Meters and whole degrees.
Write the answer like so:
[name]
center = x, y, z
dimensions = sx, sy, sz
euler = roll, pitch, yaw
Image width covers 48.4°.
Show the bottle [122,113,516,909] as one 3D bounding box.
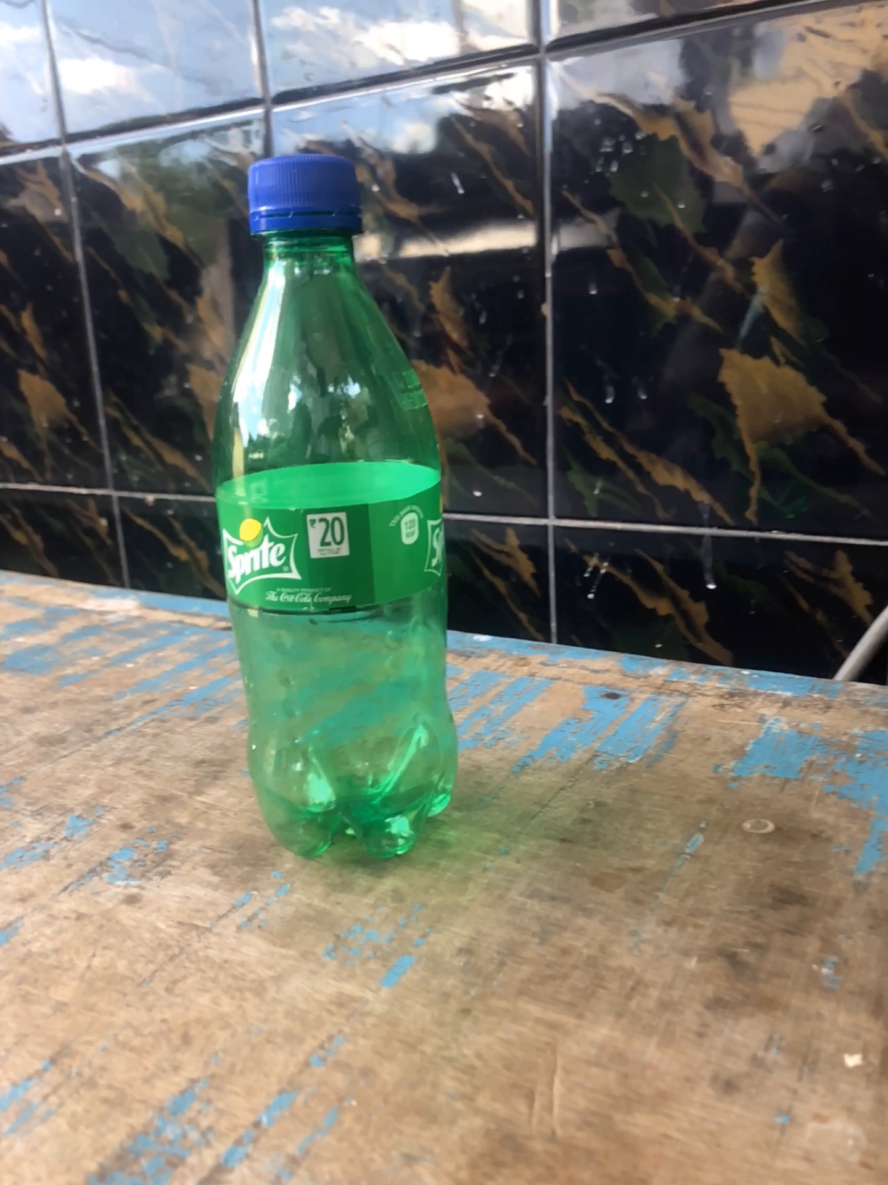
[bottle]
center = -0.025, -0.018, 0.232
dimensions = 0.060, 0.159, 0.050
euler = 9, 19, 37
